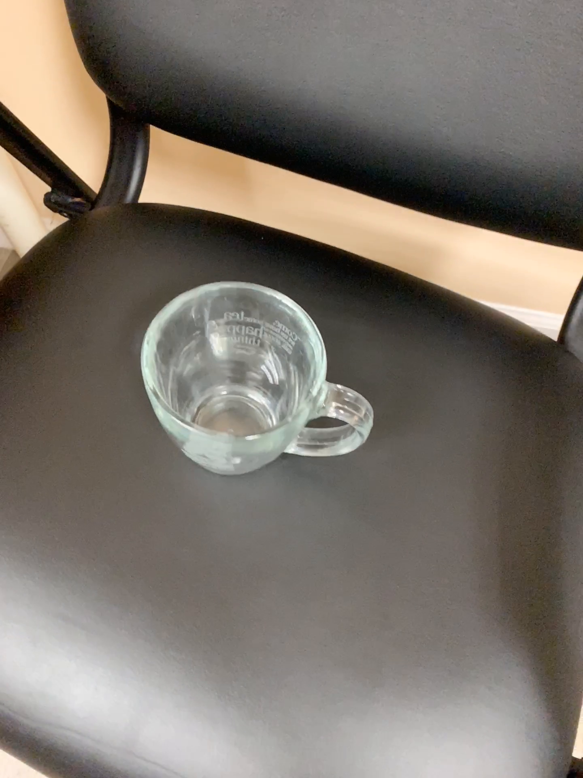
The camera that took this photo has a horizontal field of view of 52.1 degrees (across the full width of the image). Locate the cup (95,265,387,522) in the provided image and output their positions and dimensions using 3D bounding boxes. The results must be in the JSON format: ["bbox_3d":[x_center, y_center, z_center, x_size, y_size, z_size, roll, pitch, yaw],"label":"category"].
[{"bbox_3d":[-0.027,0.007,0.365,0.139,0.100,0.096,12,61,0],"label":"cup"}]
